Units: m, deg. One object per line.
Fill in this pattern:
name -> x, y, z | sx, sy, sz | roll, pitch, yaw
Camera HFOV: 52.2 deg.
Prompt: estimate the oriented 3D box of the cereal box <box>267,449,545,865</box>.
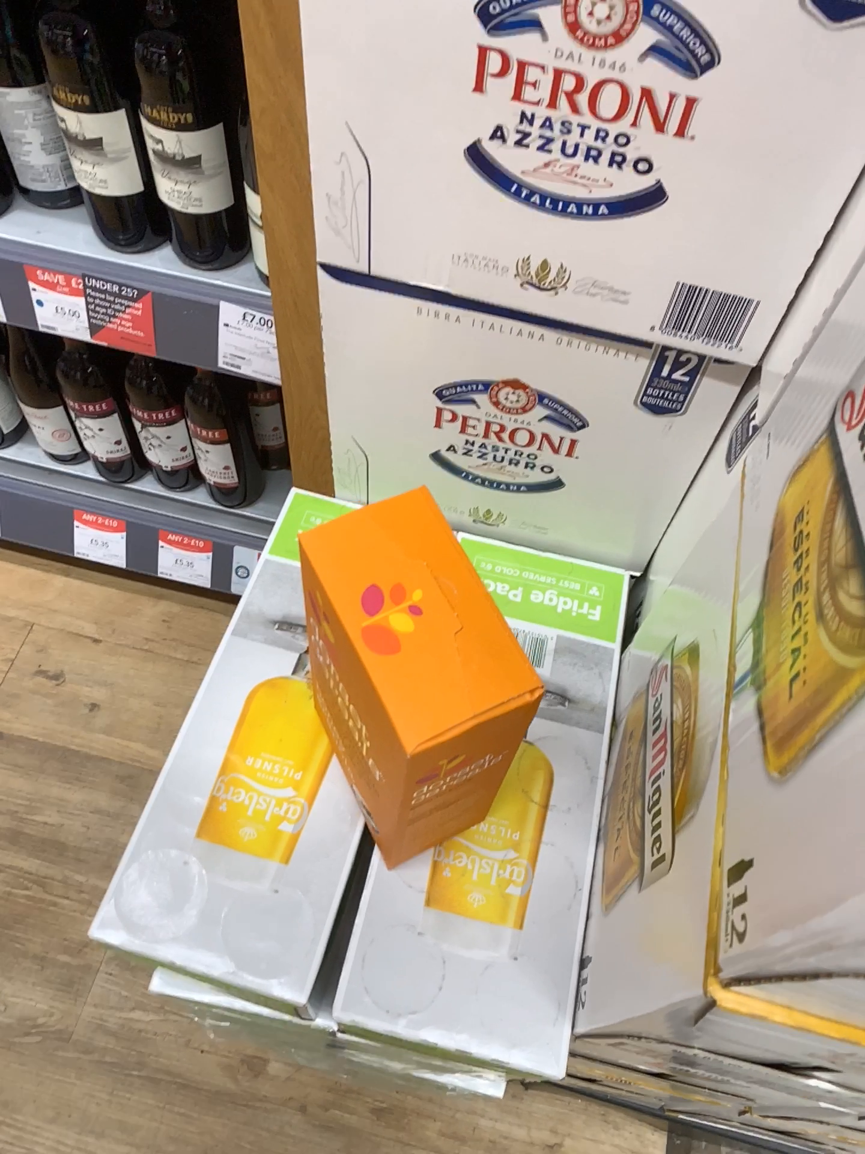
cereal box -> -0.020, 0.052, 0.449 | 0.070, 0.199, 0.121 | -21, 63, -16
